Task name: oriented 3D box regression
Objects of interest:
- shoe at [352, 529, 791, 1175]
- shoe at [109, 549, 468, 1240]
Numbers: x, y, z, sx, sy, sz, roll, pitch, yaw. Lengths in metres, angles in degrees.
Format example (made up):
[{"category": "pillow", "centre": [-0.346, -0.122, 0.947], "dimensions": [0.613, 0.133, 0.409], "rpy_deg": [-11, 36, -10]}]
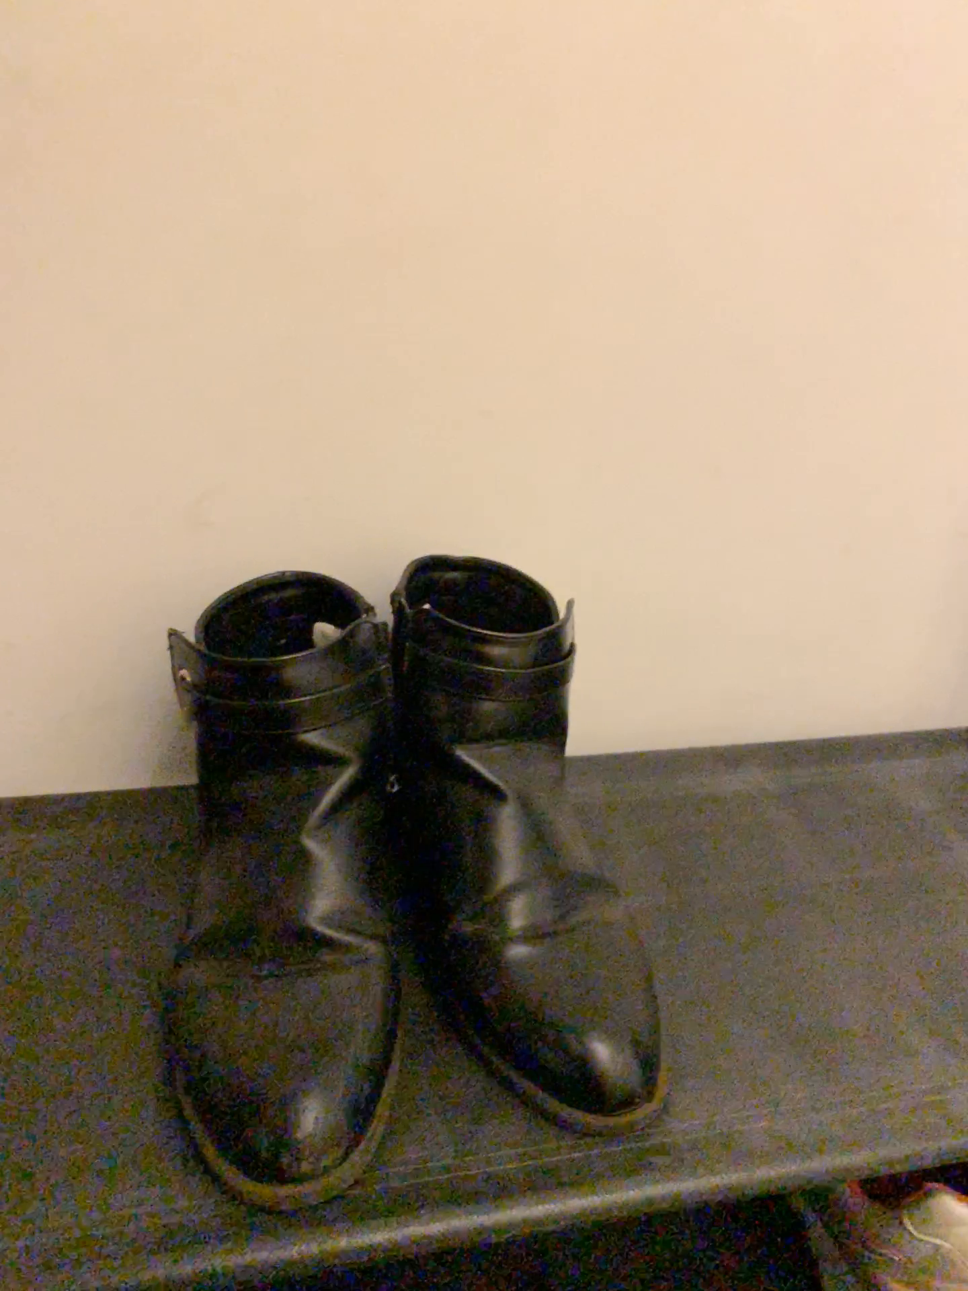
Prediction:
[{"category": "shoe", "centre": [0.014, 0.069, 0.463], "dimensions": [0.100, 0.169, 0.242], "rpy_deg": [-5, 26, -18]}, {"category": "shoe", "centre": [-0.080, 0.079, 0.417], "dimensions": [0.100, 0.169, 0.222], "rpy_deg": [-1, 26, -12]}]
